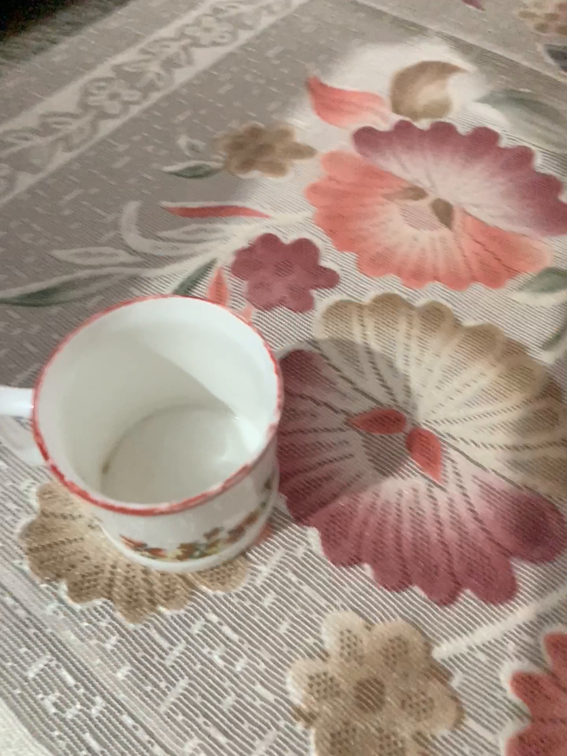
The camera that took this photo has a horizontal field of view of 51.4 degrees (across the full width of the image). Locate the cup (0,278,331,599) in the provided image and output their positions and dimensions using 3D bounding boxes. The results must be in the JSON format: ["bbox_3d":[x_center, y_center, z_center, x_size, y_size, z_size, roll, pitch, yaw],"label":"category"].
[{"bbox_3d":[-0.041,0.023,0.182,0.100,0.080,0.070,0,58,-1],"label":"cup"}]
